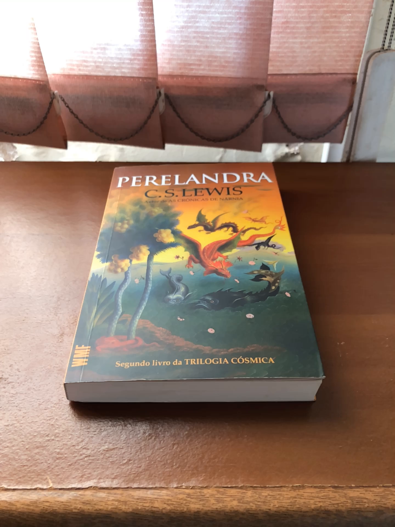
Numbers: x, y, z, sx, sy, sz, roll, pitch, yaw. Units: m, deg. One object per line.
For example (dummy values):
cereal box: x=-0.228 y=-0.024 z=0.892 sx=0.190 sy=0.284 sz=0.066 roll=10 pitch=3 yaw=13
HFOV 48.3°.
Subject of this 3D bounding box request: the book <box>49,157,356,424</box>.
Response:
book: x=0.001 y=-0.002 z=0.267 sx=0.130 sy=0.030 sz=0.191 roll=-2 pitch=42 yaw=1
